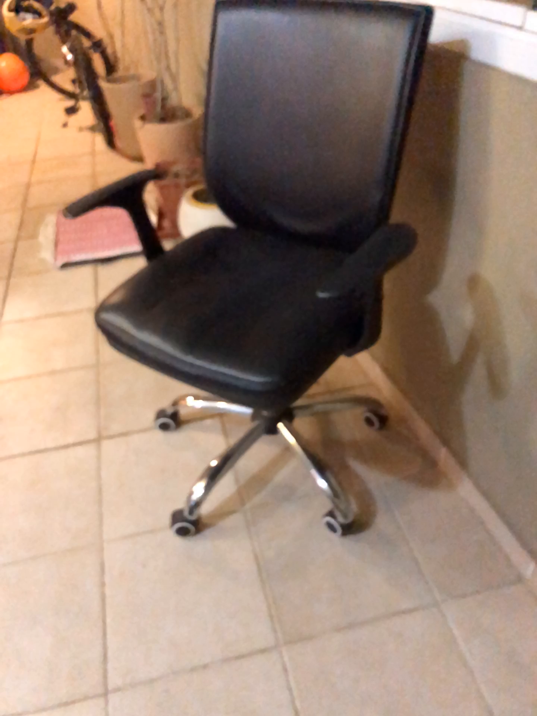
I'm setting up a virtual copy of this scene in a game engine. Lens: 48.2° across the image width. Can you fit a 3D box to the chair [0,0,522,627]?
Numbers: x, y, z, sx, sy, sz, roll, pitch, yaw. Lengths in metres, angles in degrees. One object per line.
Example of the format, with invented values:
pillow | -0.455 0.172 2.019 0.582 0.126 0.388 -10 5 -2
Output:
chair | -0.025 -0.149 1.205 0.662 0.933 0.663 21 44 29
